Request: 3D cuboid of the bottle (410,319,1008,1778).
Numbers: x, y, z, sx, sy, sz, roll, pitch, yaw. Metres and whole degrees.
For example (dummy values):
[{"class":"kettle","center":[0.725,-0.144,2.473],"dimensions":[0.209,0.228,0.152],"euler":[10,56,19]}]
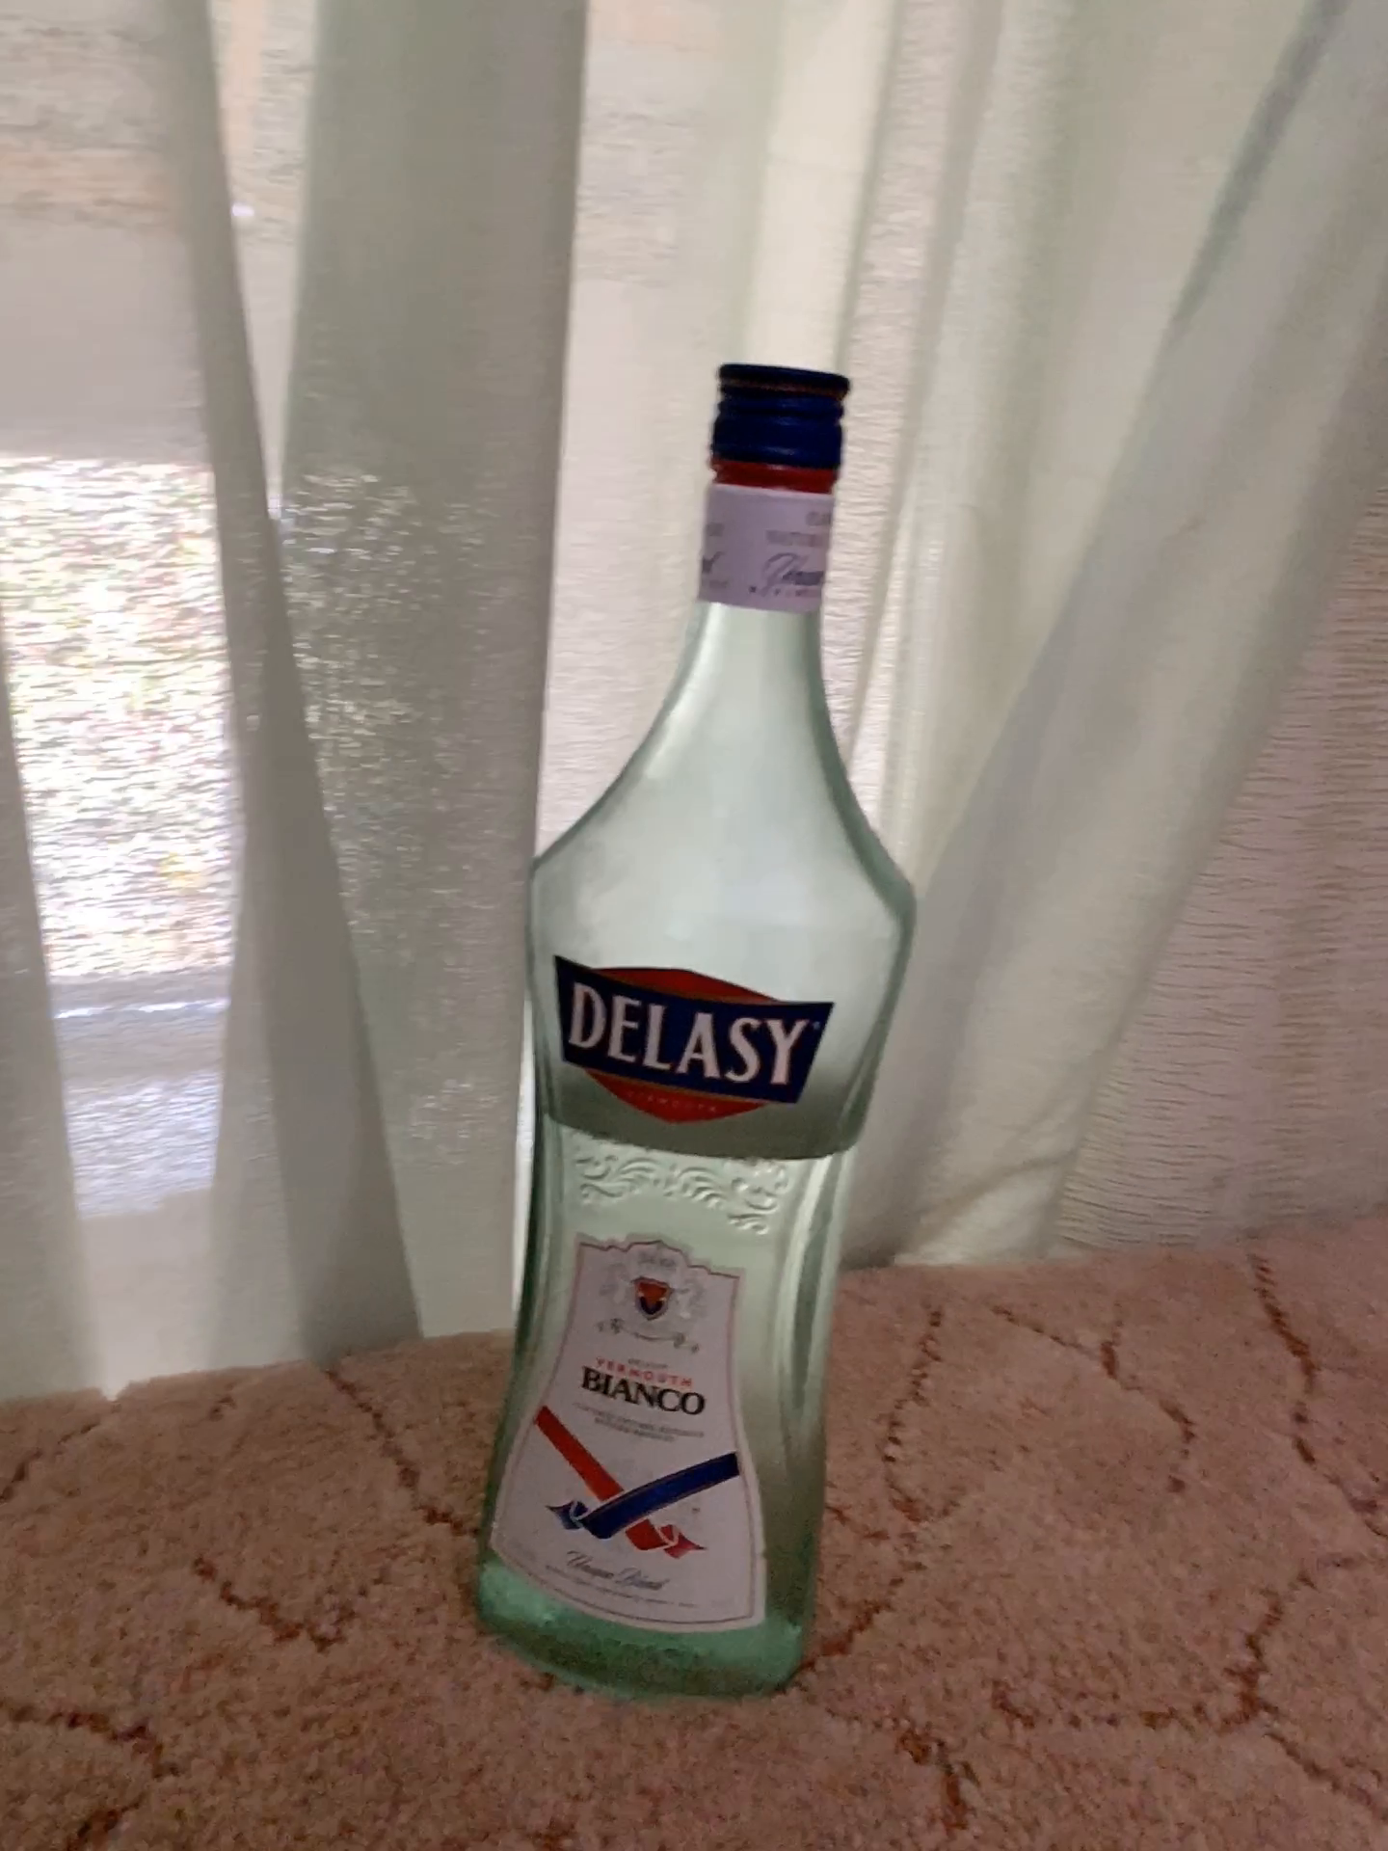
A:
[{"class":"bottle","center":[-0.004,0.036,0.344],"dimensions":[0.110,0.328,0.060],"euler":[8,18,14]}]
